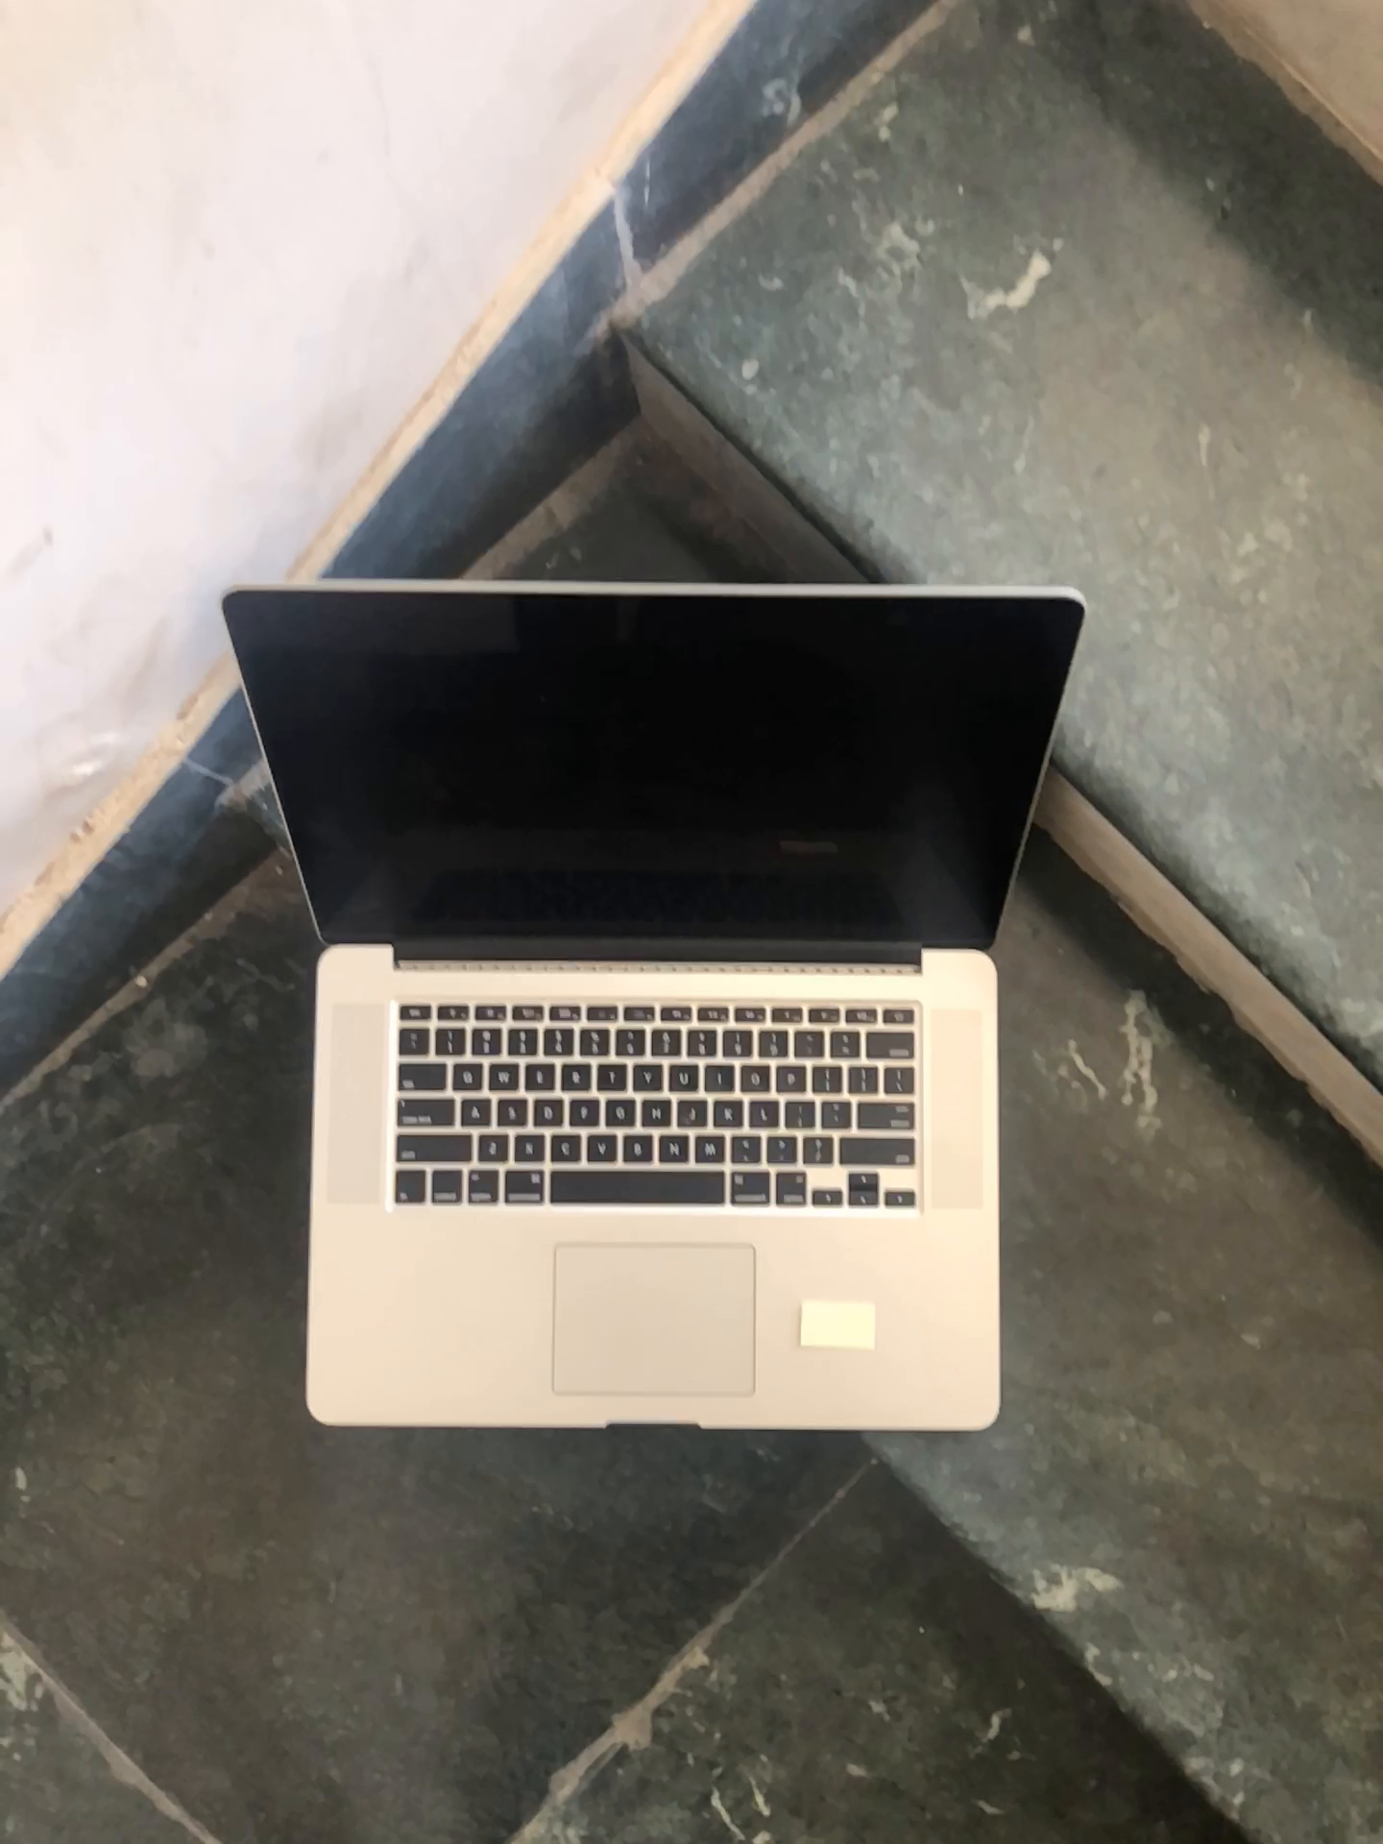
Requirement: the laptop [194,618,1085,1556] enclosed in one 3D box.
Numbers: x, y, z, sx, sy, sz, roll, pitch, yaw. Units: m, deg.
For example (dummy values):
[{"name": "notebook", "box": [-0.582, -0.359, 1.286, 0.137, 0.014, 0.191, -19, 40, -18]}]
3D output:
[{"name": "laptop", "box": [-0.021, 0.066, 0.693, 0.341, 0.195, 0.363, 0, 85, 0]}]
